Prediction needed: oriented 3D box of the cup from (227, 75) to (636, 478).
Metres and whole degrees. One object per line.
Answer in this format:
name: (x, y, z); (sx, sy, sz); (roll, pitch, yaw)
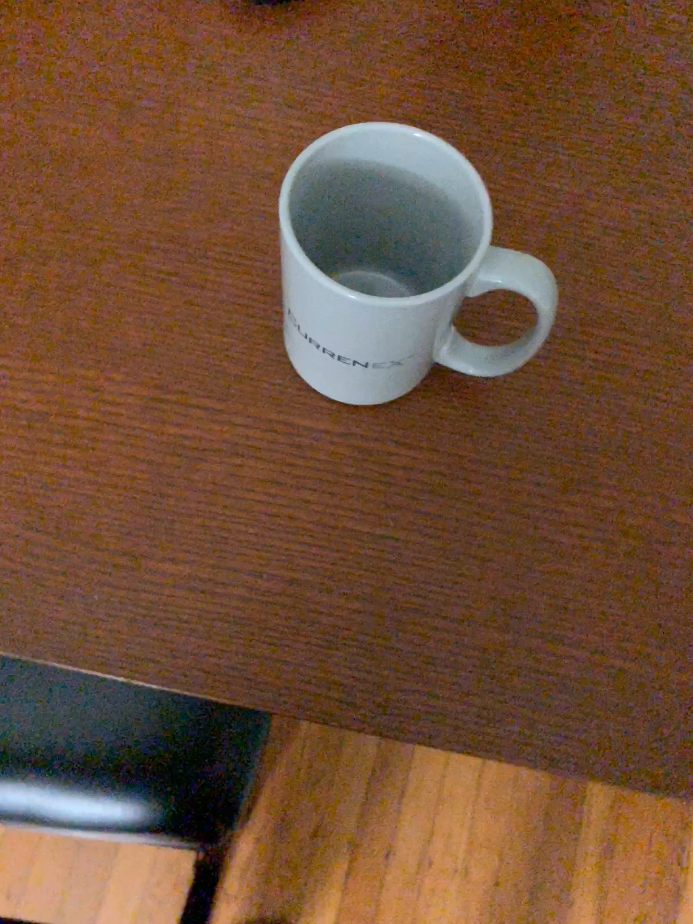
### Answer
cup: (0.034, -0.079, 0.342); (0.140, 0.110, 0.100); (24, 73, 3)
